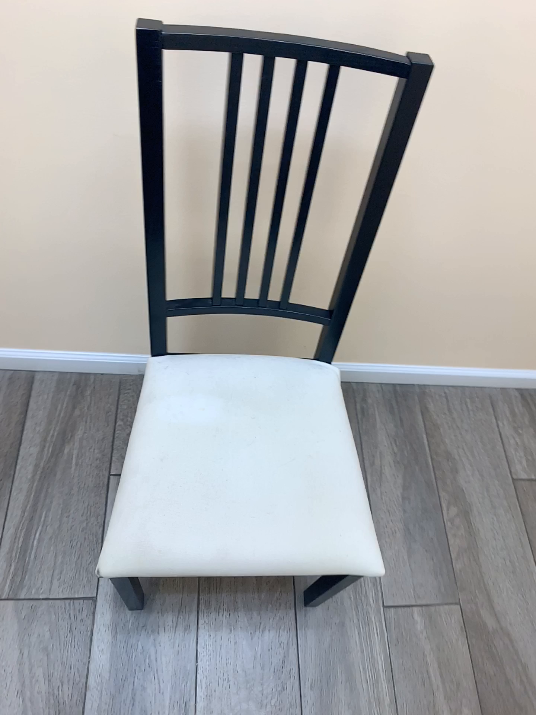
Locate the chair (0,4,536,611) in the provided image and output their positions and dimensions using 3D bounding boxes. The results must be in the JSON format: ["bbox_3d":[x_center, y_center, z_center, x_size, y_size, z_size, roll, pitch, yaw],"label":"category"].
[{"bbox_3d":[-0.041,0.083,0.905,0.439,0.964,0.499,2,59,-8],"label":"chair"}]
